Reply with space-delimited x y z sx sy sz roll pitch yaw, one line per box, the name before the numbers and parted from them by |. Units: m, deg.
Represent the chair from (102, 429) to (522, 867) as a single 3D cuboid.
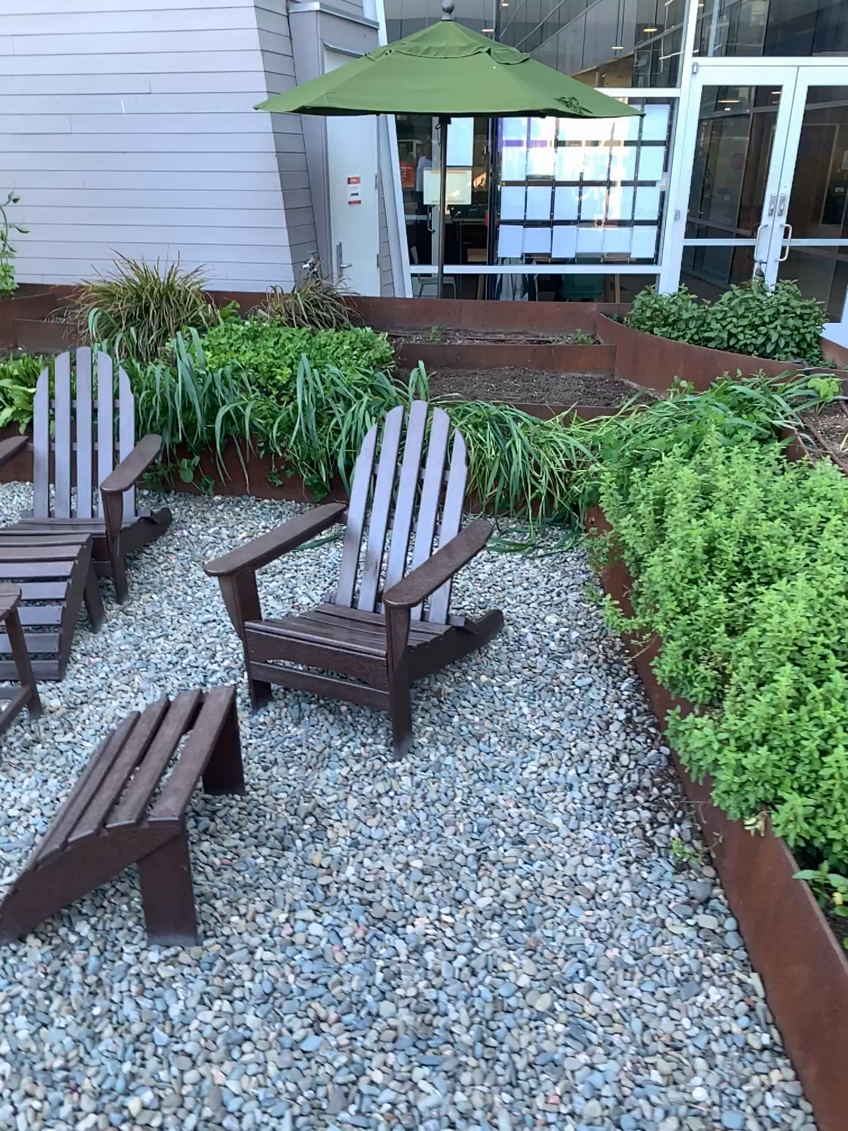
chair | -0.367 0.190 3.137 1.003 0.995 1.002 19 31 35
